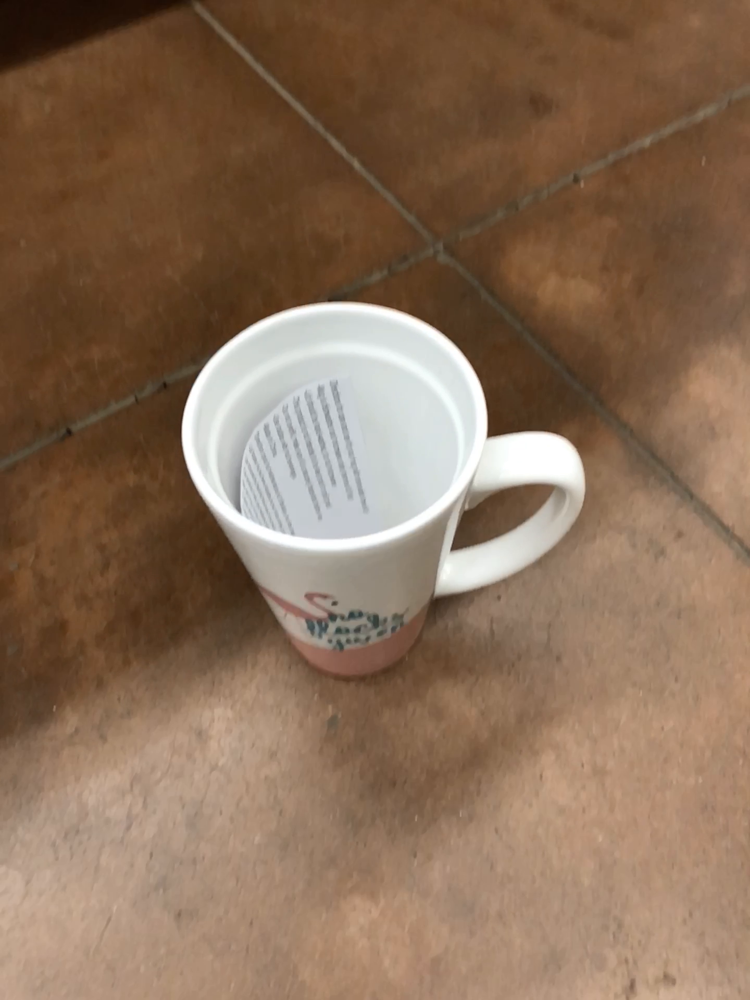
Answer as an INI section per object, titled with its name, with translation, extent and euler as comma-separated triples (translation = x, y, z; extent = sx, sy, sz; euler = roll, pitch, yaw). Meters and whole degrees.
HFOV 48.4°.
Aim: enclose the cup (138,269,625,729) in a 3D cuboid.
[cup]
translation = 0.000, 0.009, 0.308
extent = 0.130, 0.140, 0.100
euler = -5, 59, -1
